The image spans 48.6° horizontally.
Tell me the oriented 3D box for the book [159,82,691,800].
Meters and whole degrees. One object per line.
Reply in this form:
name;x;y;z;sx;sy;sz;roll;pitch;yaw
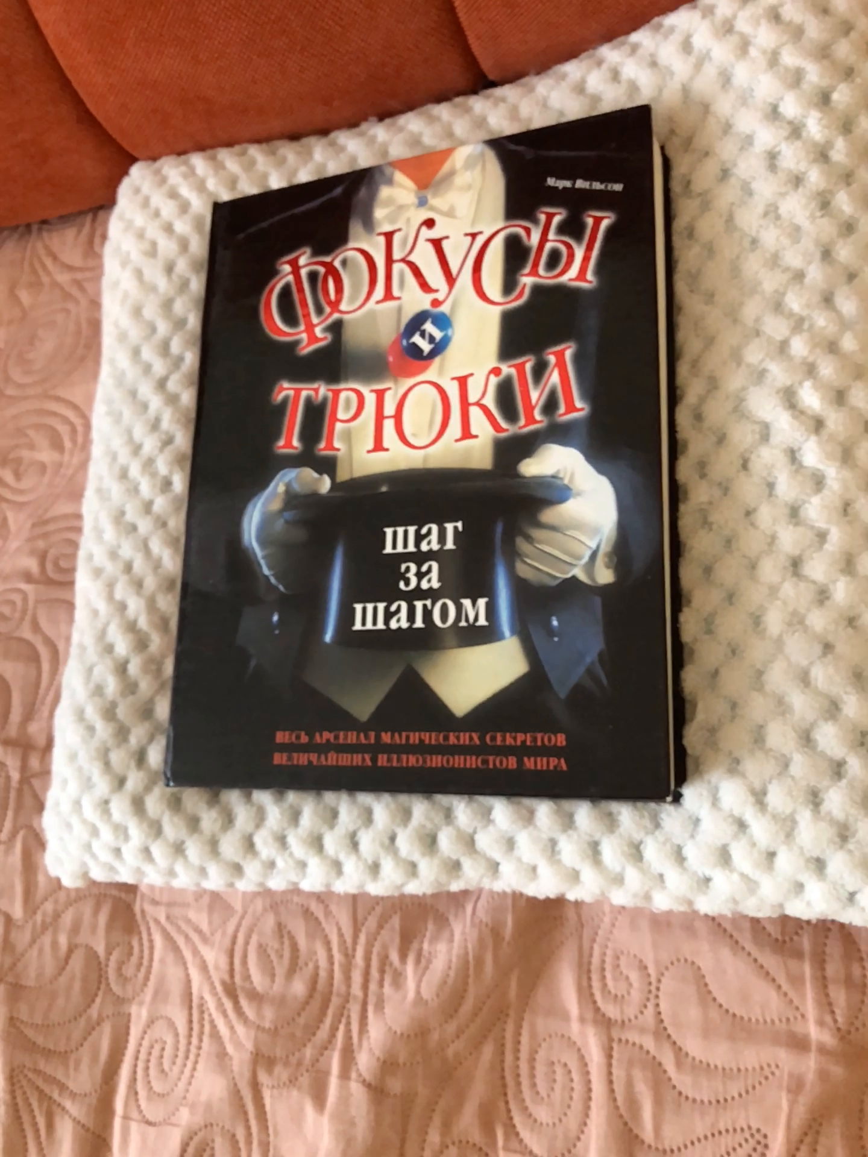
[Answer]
book;-0.006;-0.050;0.394;0.200;0.040;0.270;-4;75;21
